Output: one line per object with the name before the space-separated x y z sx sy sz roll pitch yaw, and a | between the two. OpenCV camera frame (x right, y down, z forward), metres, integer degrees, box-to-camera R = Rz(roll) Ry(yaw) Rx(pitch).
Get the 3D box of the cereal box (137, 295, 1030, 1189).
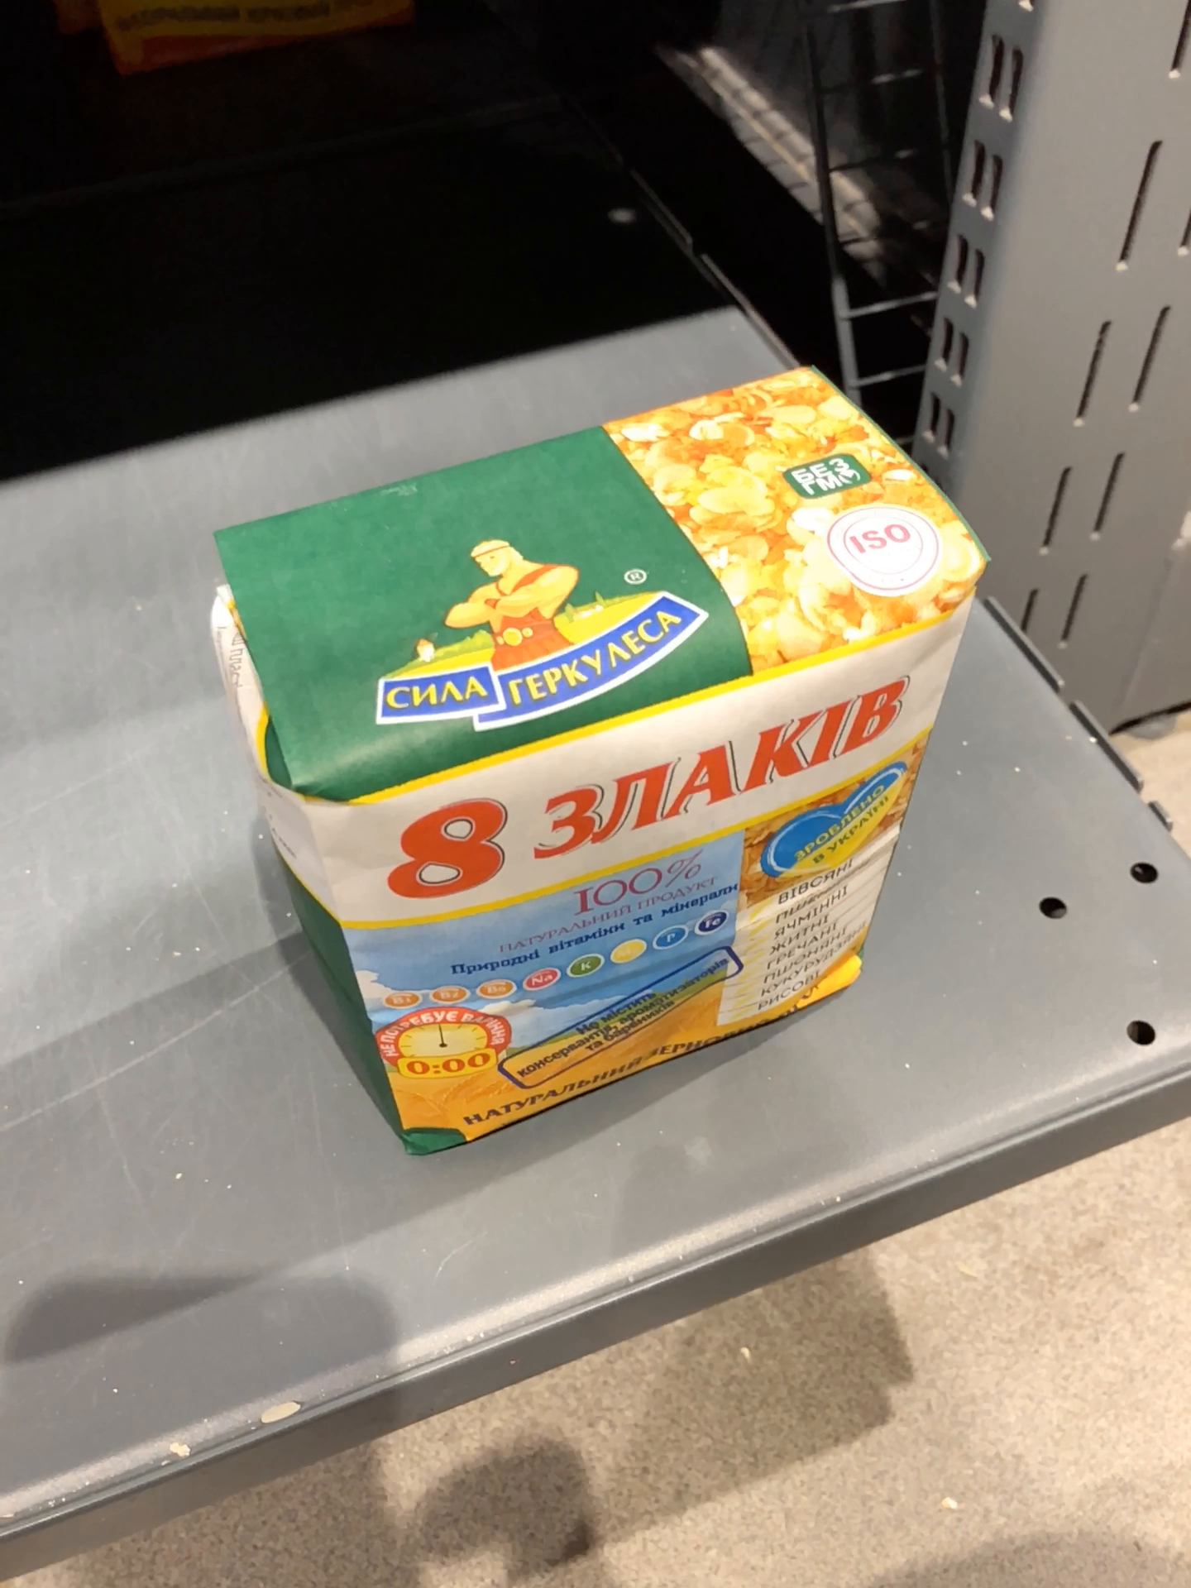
cereal box | -0.002 -0.005 0.254 0.120 0.129 0.070 -18 52 -12
